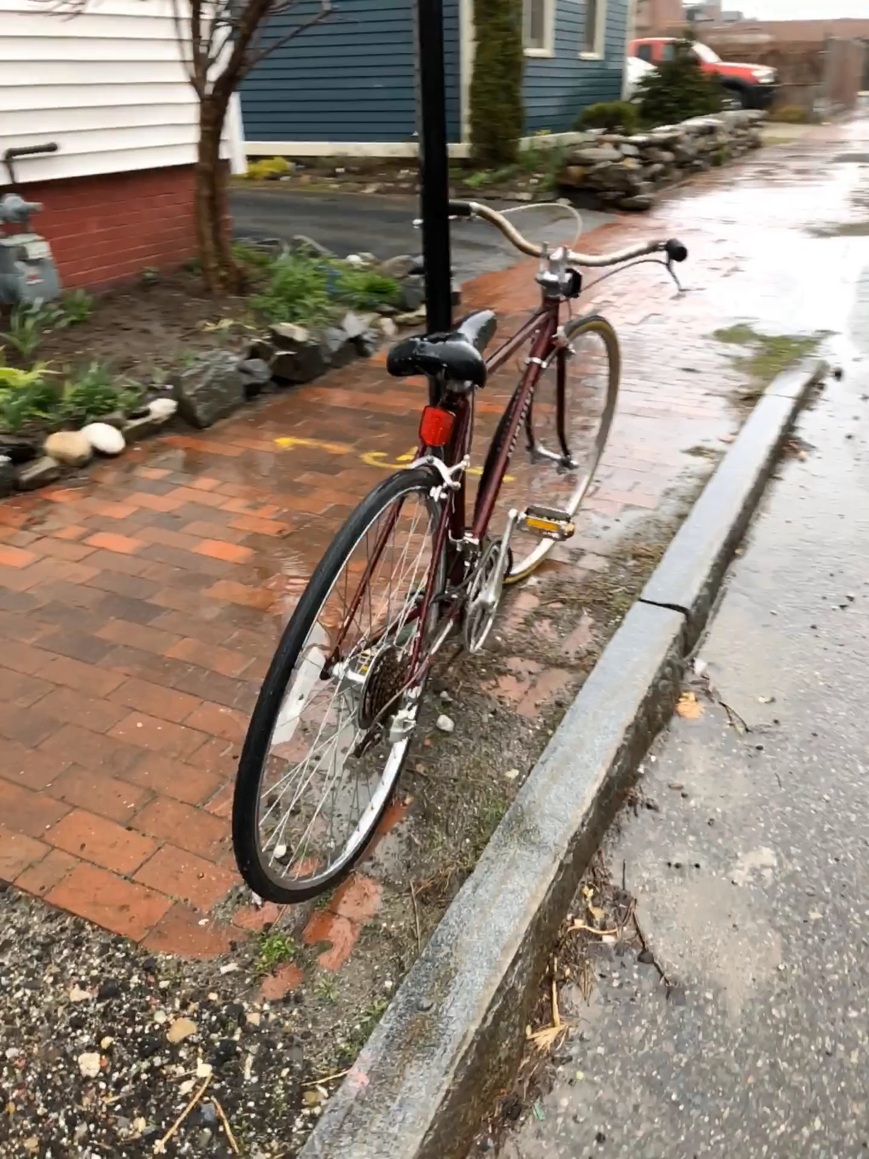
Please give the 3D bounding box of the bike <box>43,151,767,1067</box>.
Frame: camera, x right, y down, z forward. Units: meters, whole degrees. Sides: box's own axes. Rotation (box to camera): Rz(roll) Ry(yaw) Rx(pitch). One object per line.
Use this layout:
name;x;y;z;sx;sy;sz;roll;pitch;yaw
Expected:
bike;0.169;-0.195;1.730;0.499;0.907;1.616;11;31;22
